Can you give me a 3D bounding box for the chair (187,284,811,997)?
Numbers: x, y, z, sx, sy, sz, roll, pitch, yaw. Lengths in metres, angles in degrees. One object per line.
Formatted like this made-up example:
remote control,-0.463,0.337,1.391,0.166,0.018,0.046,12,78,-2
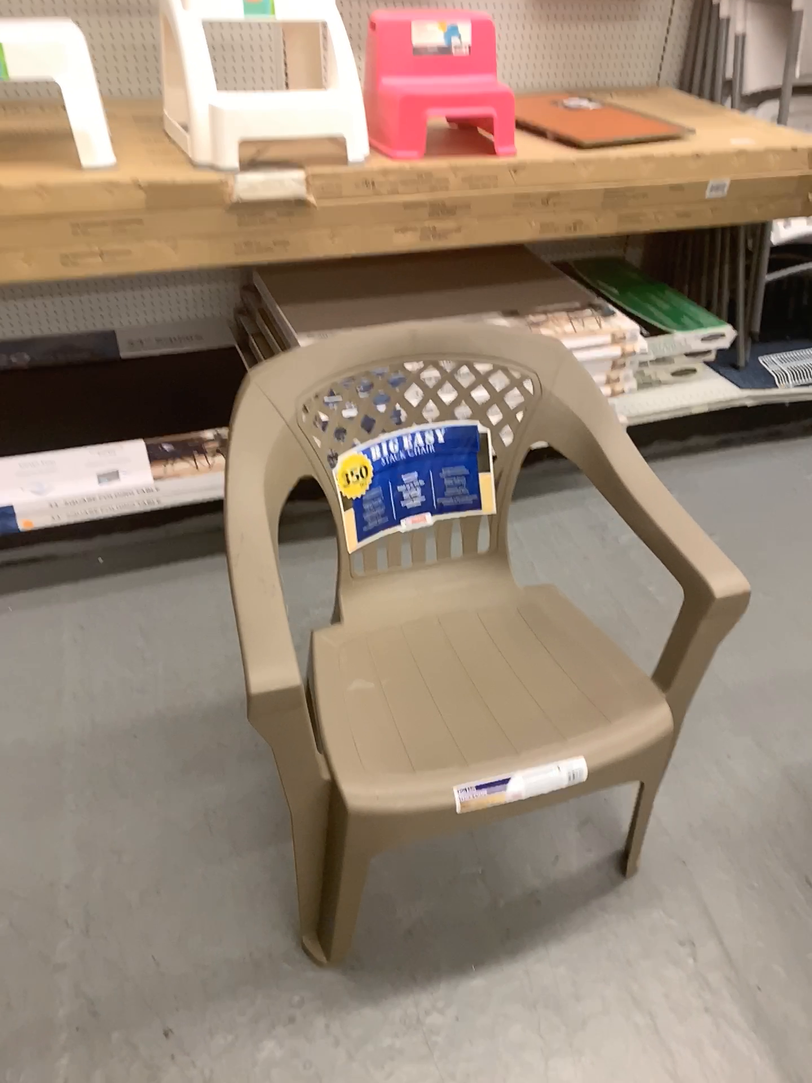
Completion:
chair,0.111,0.139,1.358,0.767,0.878,0.590,-9,39,-15
